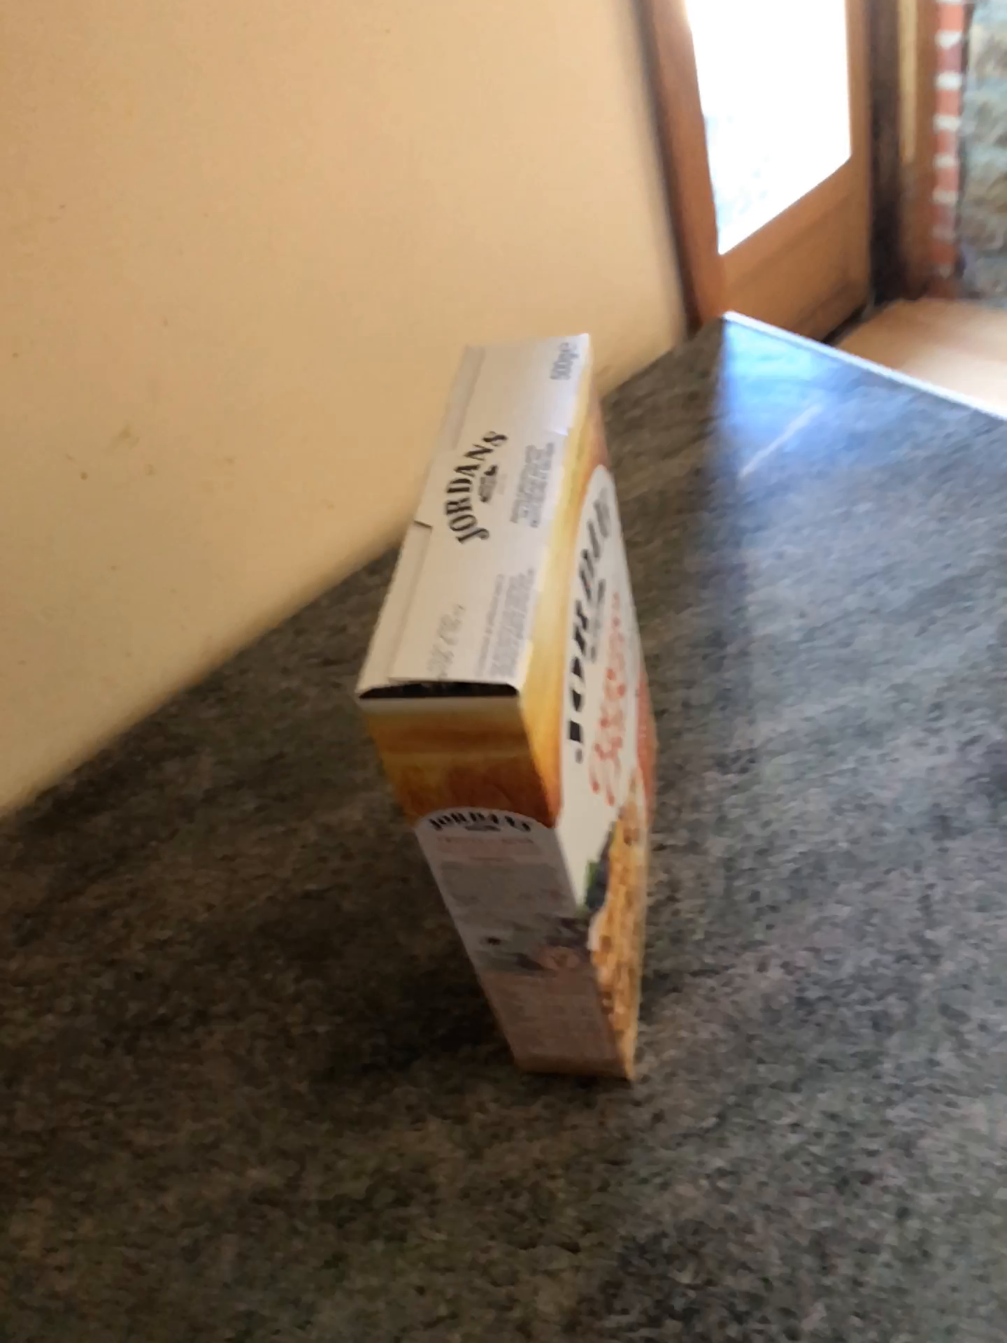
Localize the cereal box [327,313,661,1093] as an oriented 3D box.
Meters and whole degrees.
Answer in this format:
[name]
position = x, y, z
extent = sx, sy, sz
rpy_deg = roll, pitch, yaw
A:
[cereal box]
position = 0.018, 0.021, 0.448
extent = 0.060, 0.249, 0.191
rpy_deg = -3, 45, 13
